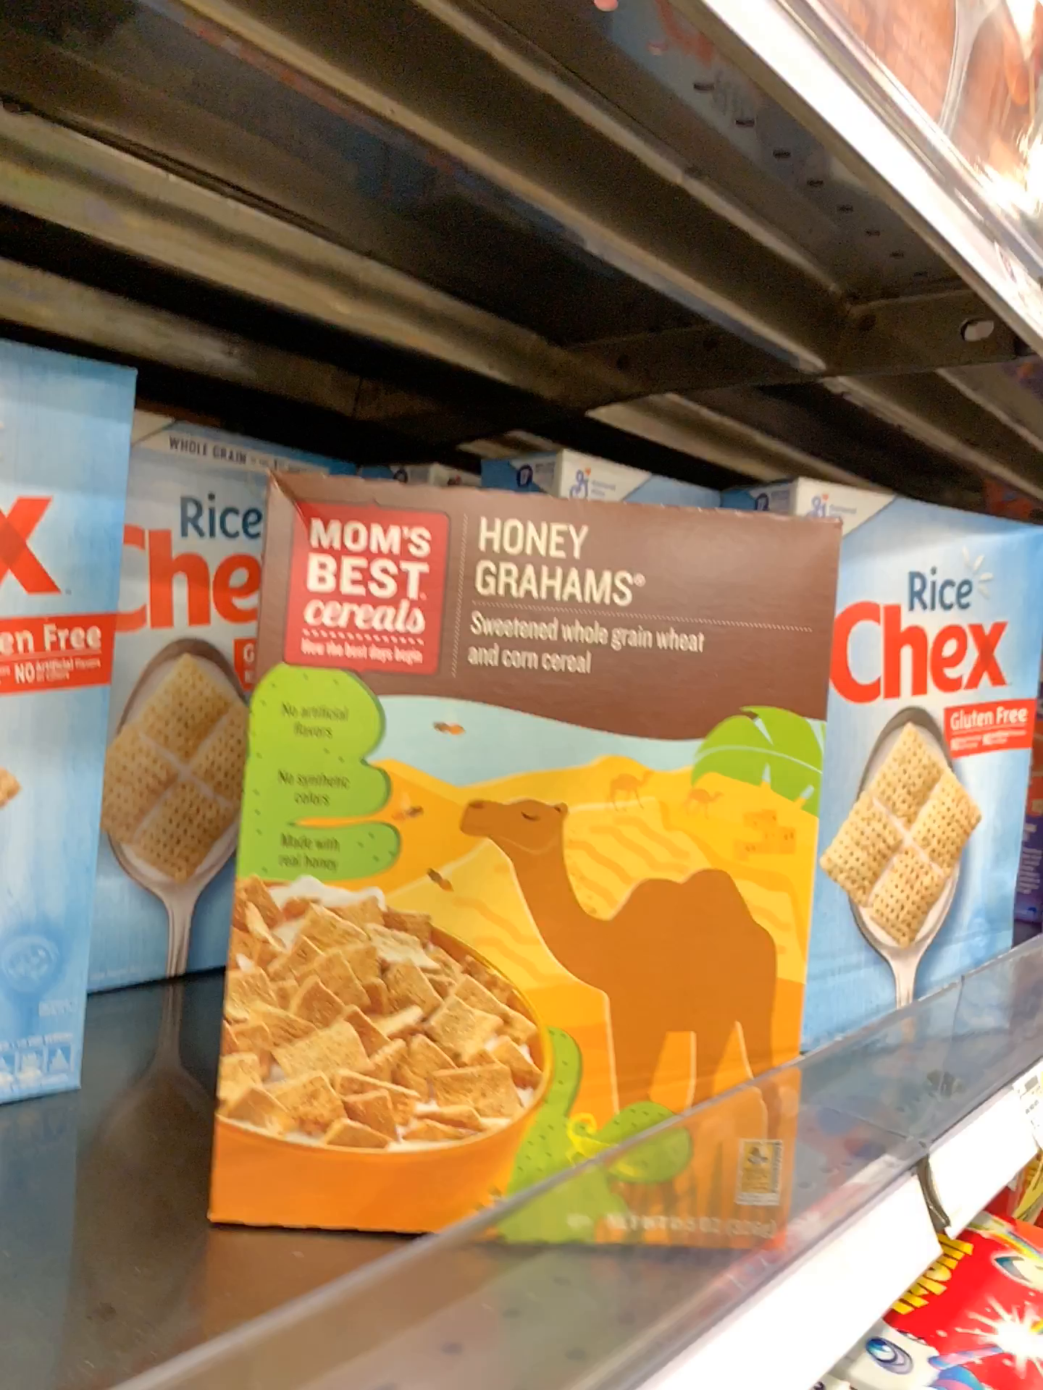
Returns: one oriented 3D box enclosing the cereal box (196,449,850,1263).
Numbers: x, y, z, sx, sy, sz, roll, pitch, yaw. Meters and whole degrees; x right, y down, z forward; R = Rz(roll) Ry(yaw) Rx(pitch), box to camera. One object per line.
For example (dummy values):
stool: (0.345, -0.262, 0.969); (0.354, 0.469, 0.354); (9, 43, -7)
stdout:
cereal box: (0.001, 0.056, 0.386); (0.200, 0.260, 0.050); (4, 0, -3)
